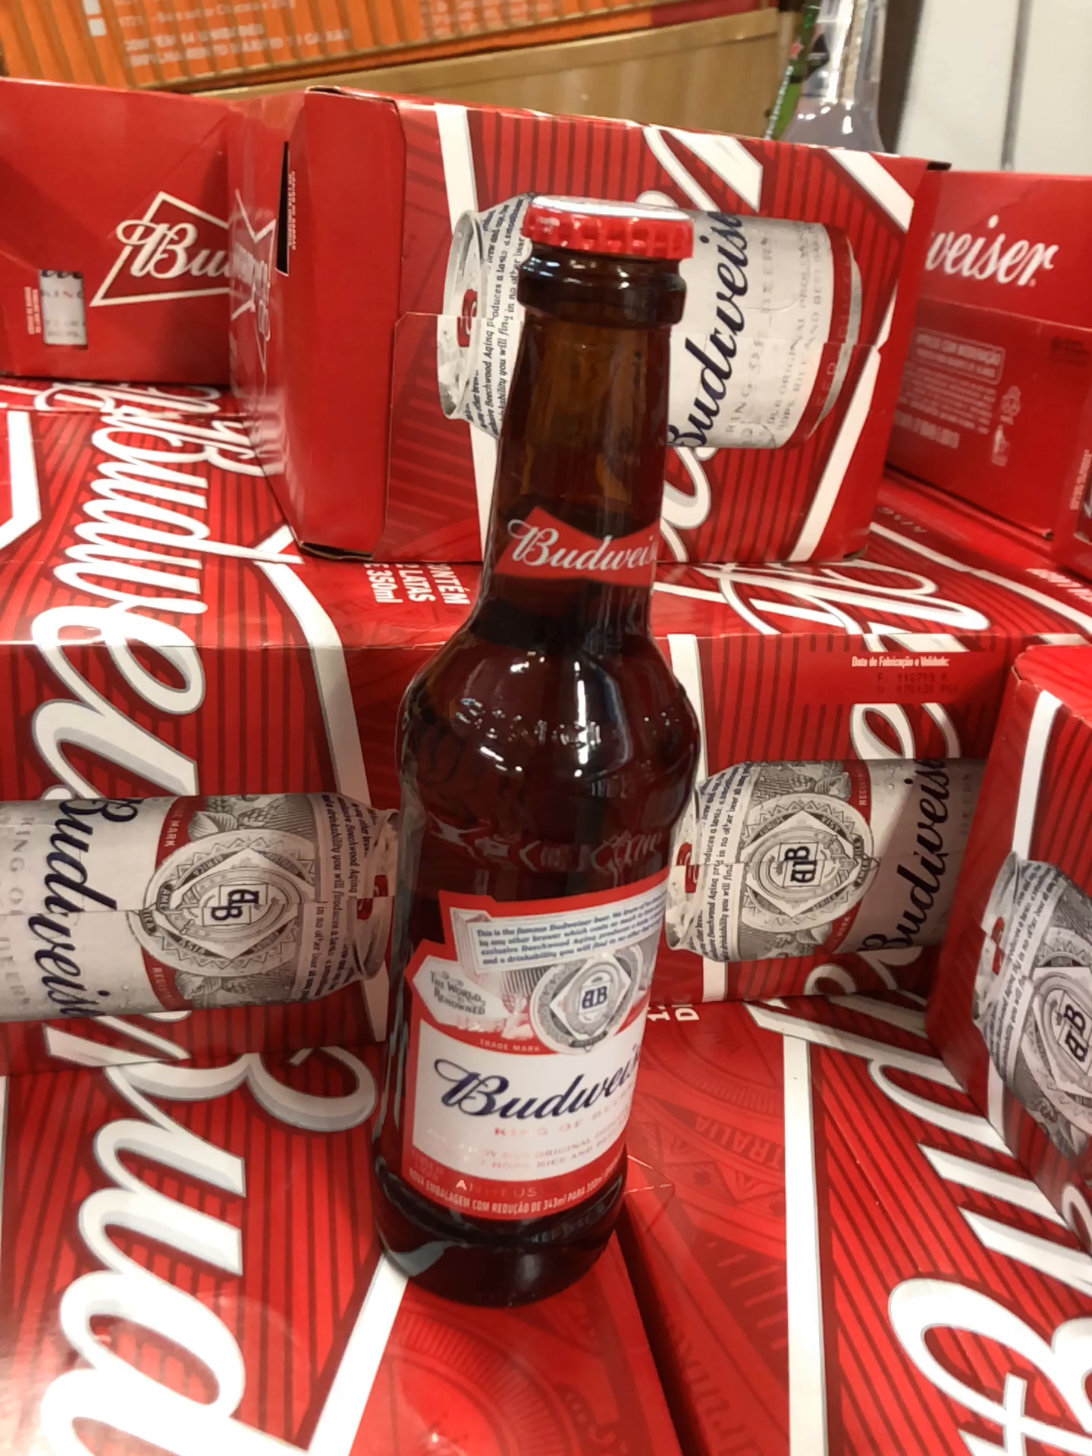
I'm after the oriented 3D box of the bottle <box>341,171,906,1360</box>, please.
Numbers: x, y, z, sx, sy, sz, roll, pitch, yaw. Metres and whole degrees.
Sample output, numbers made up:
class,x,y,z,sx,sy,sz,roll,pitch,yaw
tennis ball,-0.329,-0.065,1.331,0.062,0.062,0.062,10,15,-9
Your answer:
class,x,y,z,sx,sy,sz,roll,pitch,yaw
bottle,0.002,0.015,0.248,0.070,0.228,0.060,-5,27,-23
